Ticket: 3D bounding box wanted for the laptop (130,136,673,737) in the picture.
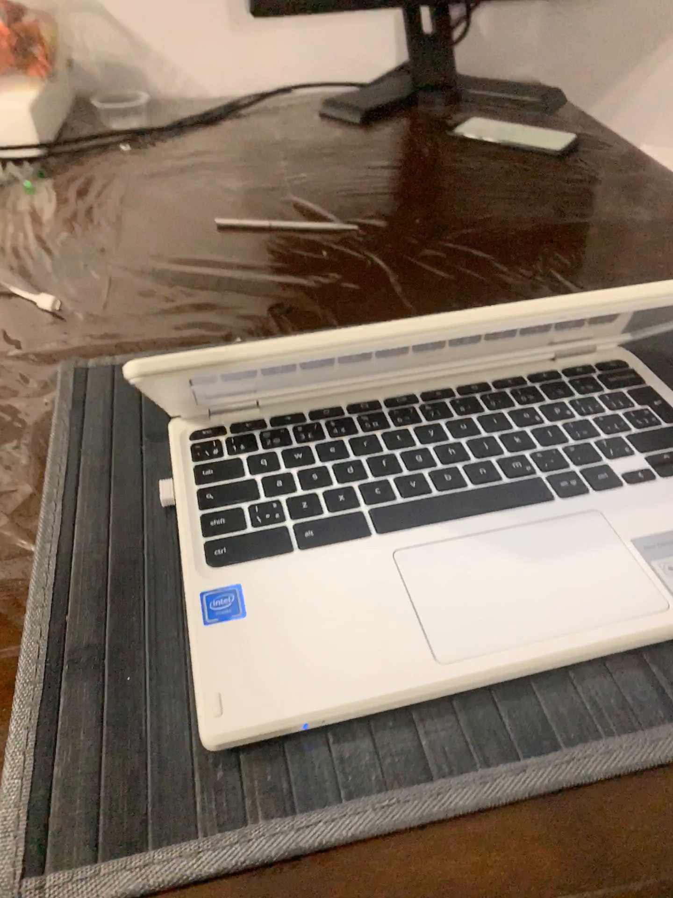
[{"bbox_3d":[0.070,-0.027,0.293,0.280,0.124,0.182,-9,41,-10],"label":"laptop"}]
